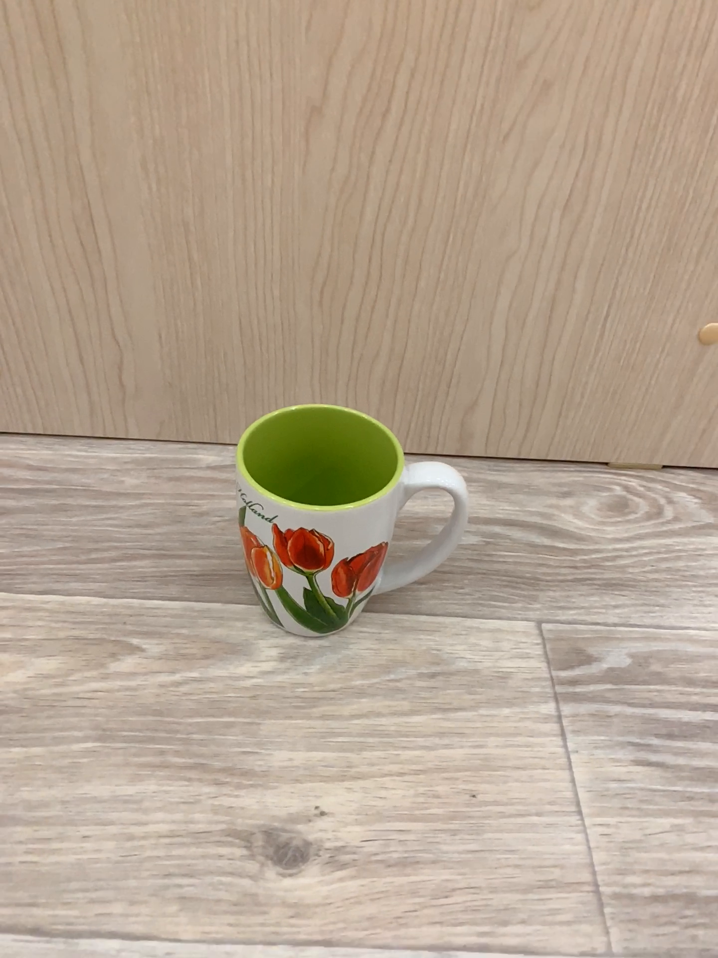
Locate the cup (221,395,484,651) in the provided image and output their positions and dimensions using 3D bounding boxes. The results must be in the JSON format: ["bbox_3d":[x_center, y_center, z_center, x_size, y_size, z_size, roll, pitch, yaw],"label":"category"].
[{"bbox_3d":[-0.011,0.022,0.394,0.118,0.101,0.084,-2,40,-8],"label":"cup"}]
